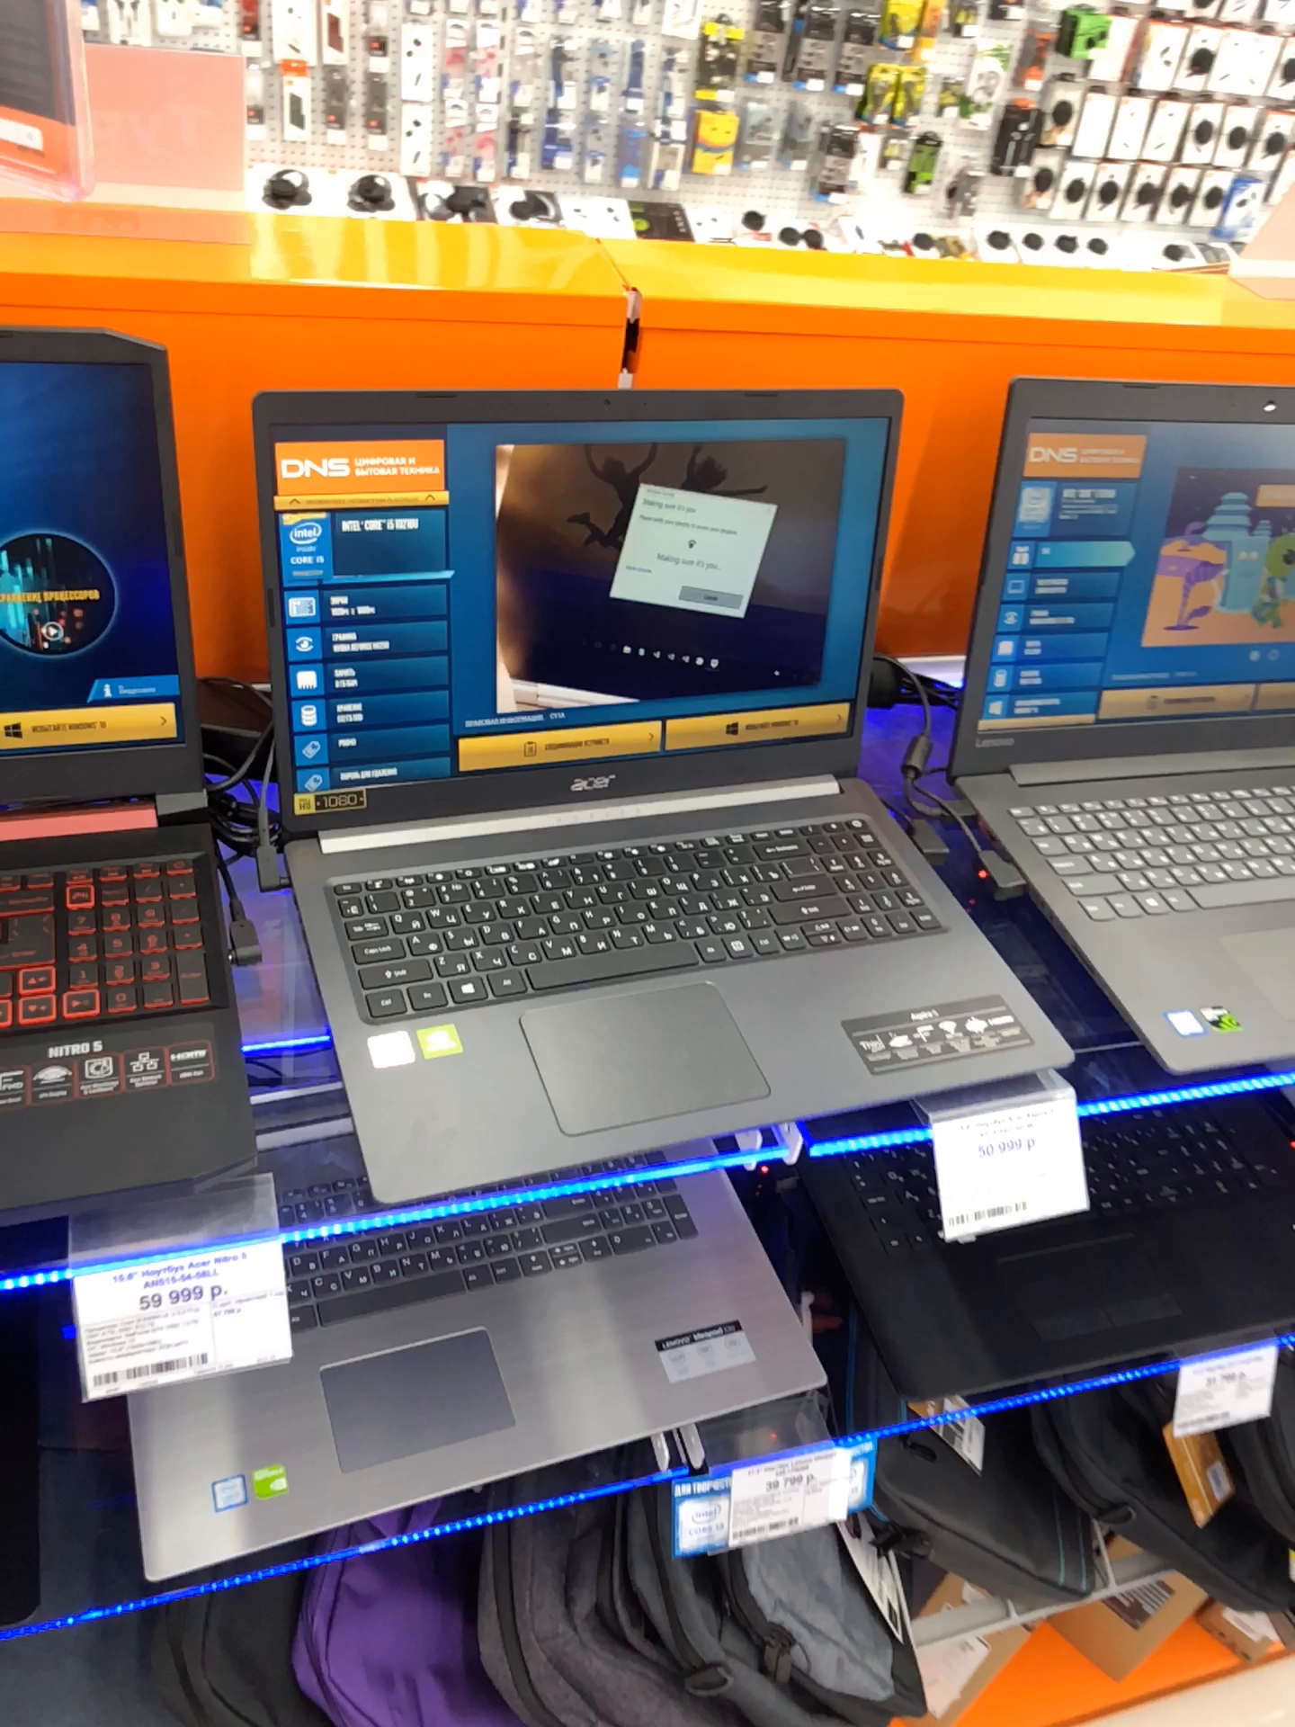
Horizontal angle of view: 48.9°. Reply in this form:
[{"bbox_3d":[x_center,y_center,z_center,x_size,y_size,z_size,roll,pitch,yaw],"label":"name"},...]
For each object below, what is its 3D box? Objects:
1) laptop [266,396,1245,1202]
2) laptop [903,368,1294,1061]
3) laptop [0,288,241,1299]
[{"bbox_3d":[0.017,-0.061,0.703,0.353,0.224,0.303,-7,41,-21],"label":"laptop"},{"bbox_3d":[0.411,-0.102,0.832,0.349,0.230,0.323,-5,42,-19],"label":"laptop"},{"bbox_3d":[-0.356,-0.050,0.578,0.309,0.230,0.302,-7,42,-23],"label":"laptop"}]
